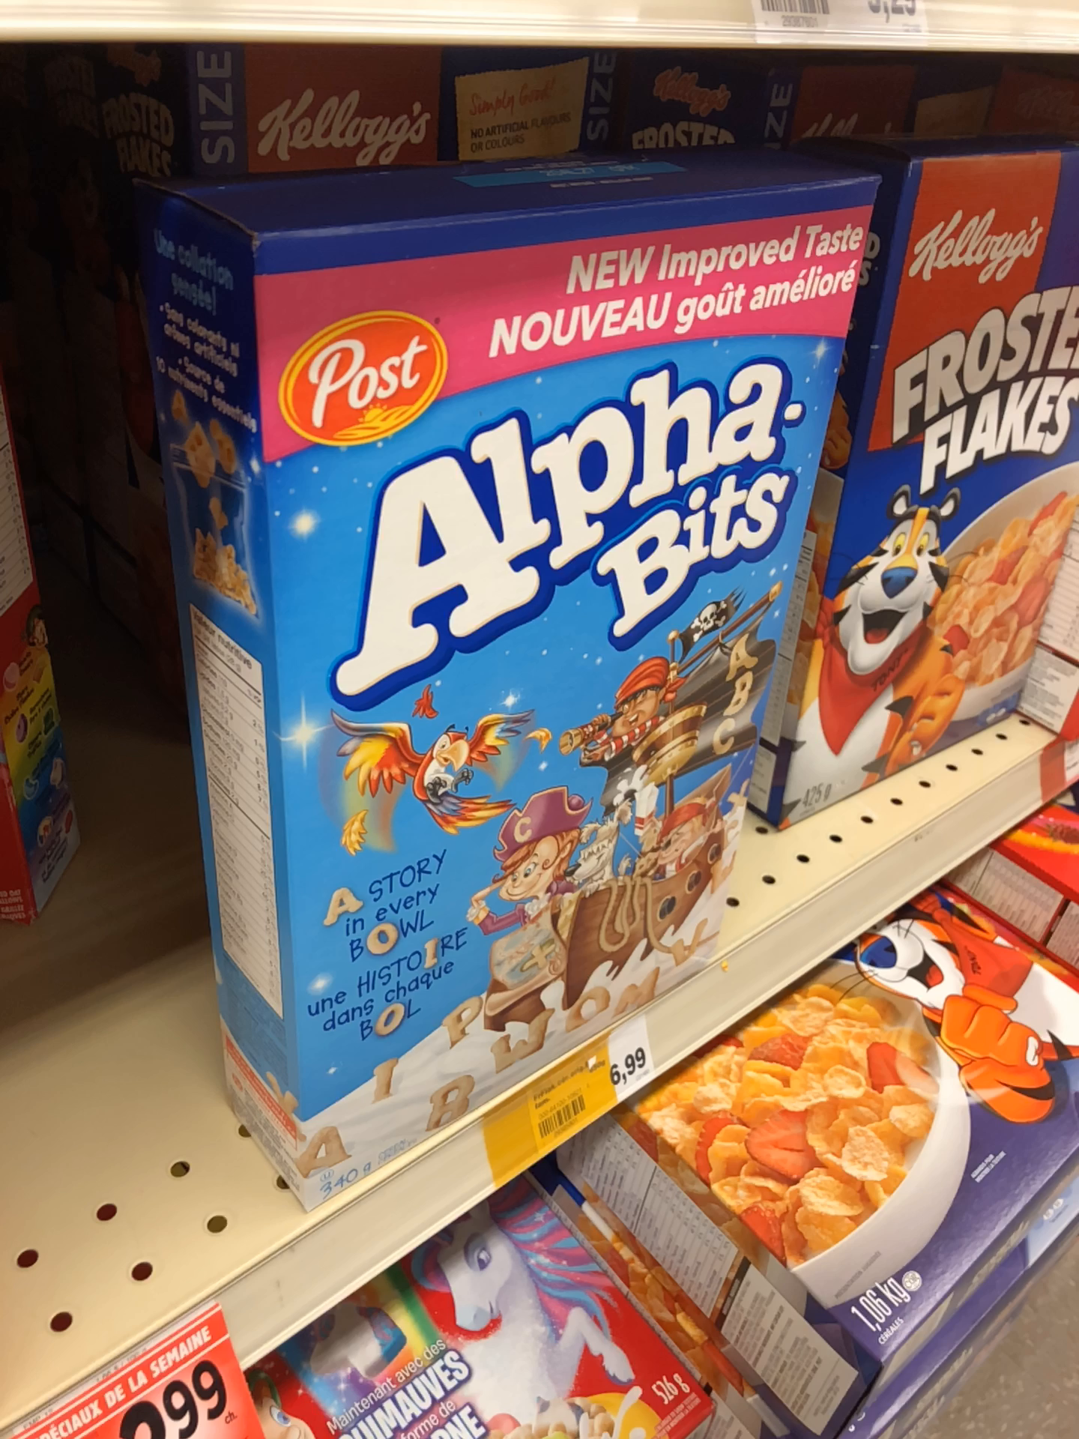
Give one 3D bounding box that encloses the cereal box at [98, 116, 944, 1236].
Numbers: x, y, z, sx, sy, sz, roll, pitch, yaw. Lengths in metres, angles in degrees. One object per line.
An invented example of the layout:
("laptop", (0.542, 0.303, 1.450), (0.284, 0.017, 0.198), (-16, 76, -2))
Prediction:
("cereal box", (-0.006, -0.008, 0.356), (0.201, 0.298, 0.060), (-22, 44, -35))
